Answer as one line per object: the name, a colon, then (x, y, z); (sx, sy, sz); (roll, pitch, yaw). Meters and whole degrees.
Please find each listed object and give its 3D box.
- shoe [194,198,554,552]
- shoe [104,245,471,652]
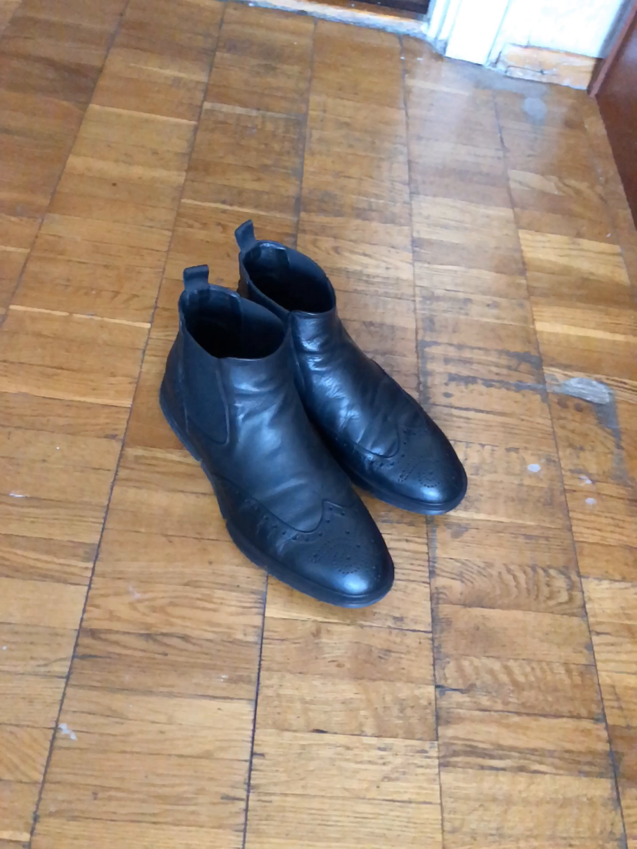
shoe: (0.032, -0.048, 0.634); (0.300, 0.139, 0.110); (39, 58, 16)
shoe: (-0.041, 0.014, 0.577); (0.110, 0.139, 0.301); (-32, 67, -27)
